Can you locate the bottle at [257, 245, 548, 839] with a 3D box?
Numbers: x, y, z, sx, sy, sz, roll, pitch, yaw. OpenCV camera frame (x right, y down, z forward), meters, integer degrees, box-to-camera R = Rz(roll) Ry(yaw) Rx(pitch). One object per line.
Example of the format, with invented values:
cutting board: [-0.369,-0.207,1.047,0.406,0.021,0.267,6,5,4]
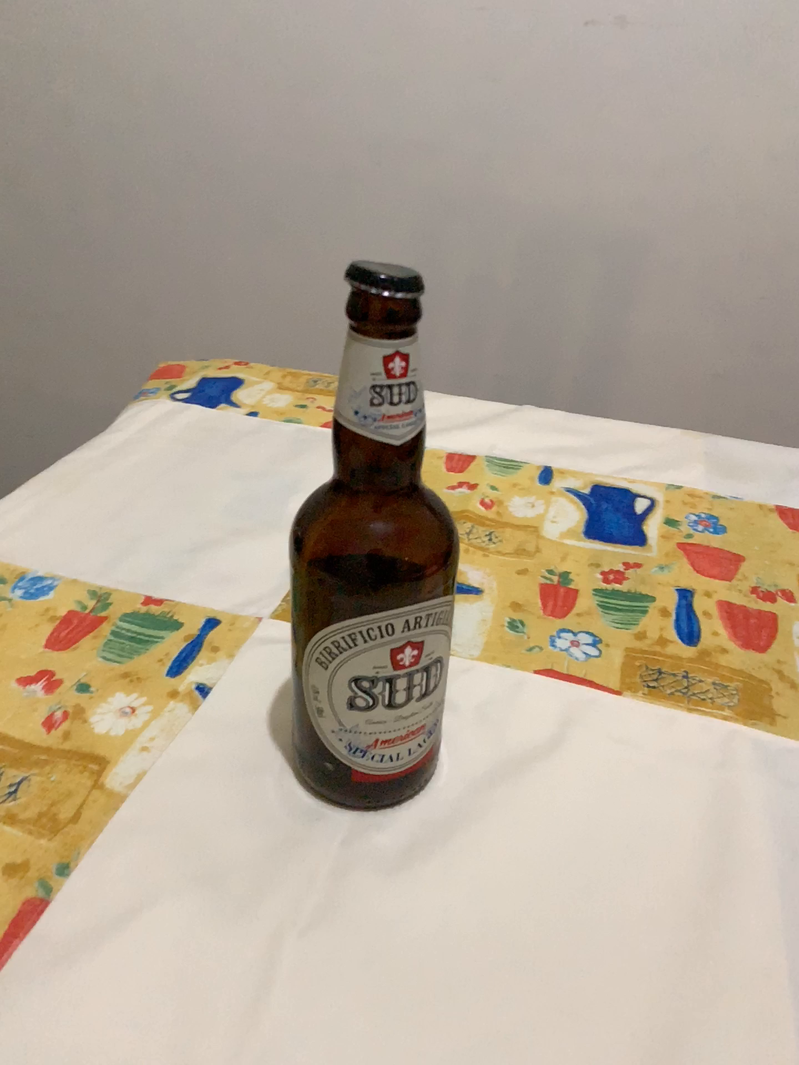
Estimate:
bottle: [-0.007,0.010,0.350,0.080,0.239,0.070,-12,34,-25]
